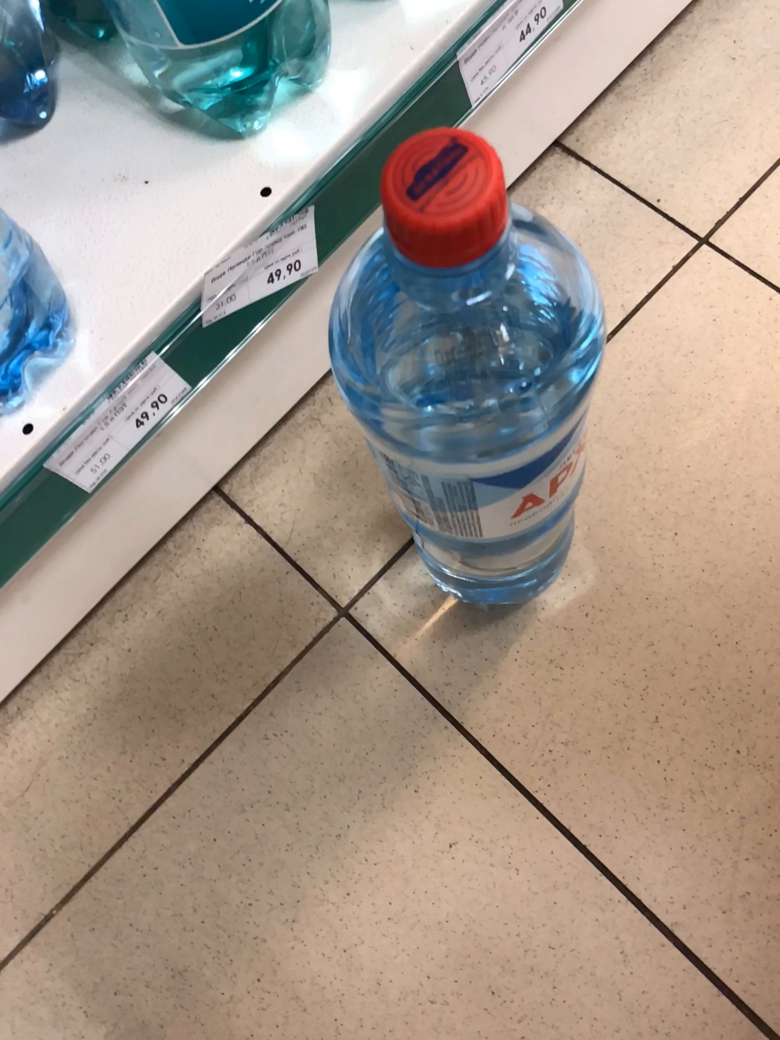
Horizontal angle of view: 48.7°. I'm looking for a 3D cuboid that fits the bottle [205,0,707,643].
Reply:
[{"bbox_3d":[0.039,-0.032,0.341,0.085,0.307,0.094,-3,74,9],"label":"bottle"}]
